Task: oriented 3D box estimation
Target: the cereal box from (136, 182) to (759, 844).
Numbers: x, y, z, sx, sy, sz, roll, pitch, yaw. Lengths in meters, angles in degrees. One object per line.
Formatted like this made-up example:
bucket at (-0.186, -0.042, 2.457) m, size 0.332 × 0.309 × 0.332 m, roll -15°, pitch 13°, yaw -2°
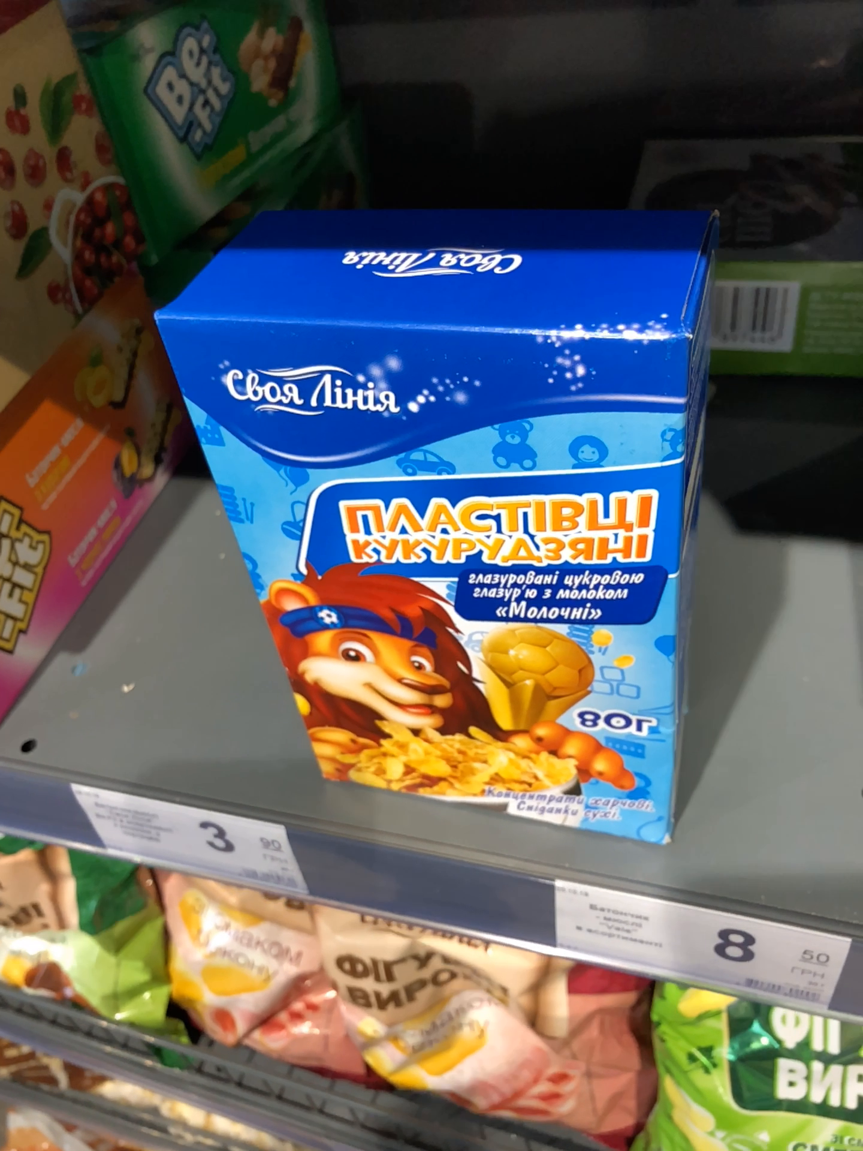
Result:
cereal box at (0.015, -0.009, 0.261) m, size 0.120 × 0.169 × 0.060 m, roll 6°, pitch 46°, yaw 16°
